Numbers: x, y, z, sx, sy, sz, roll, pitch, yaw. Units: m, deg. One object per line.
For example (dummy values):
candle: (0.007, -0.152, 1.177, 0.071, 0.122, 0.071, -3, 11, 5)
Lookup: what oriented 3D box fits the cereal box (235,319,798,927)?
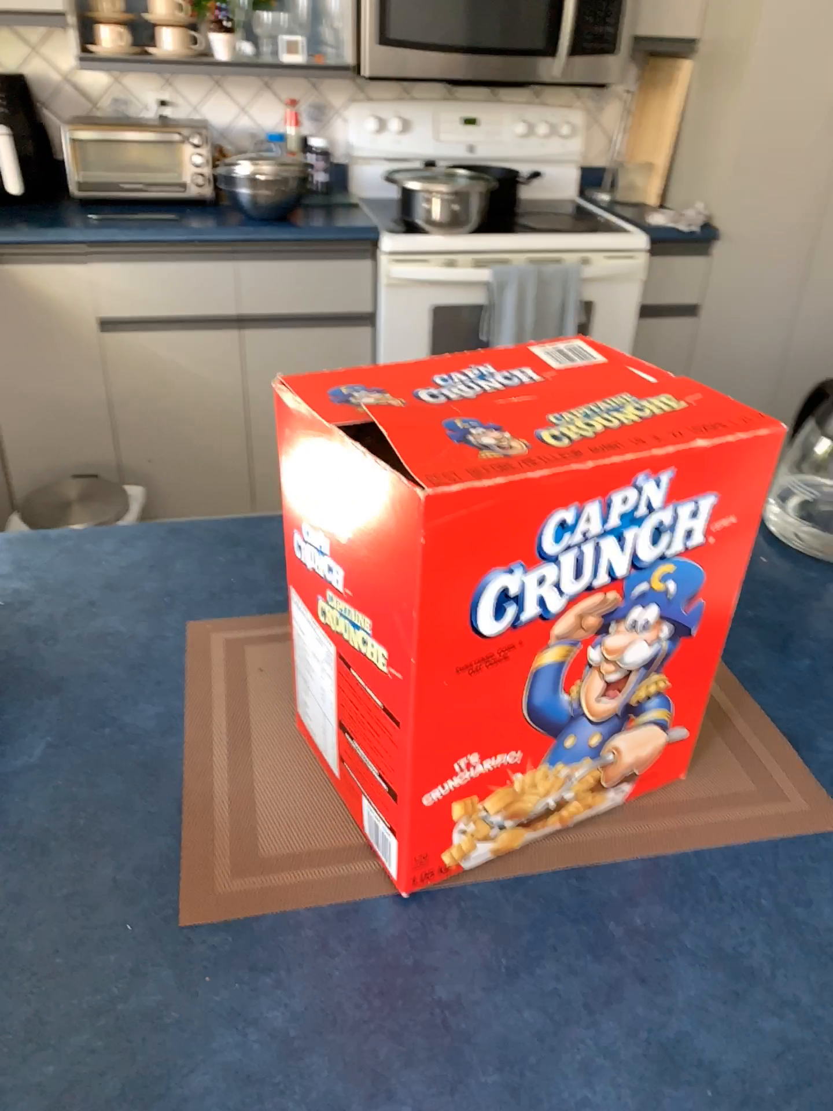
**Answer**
cereal box: (0.047, 0.025, 0.594, 0.271, 0.297, 0.211, -13, 34, -25)
